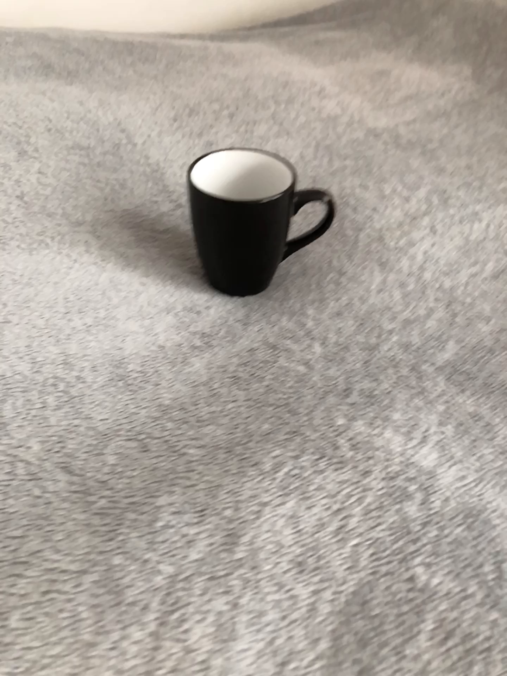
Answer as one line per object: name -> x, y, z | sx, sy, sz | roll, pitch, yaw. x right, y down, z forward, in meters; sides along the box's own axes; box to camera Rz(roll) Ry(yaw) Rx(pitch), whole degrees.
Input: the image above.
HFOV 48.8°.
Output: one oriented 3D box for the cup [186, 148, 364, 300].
cup -> 0.011, -0.097, 0.468 | 0.128, 0.089, 0.091 | -2, 41, -8
